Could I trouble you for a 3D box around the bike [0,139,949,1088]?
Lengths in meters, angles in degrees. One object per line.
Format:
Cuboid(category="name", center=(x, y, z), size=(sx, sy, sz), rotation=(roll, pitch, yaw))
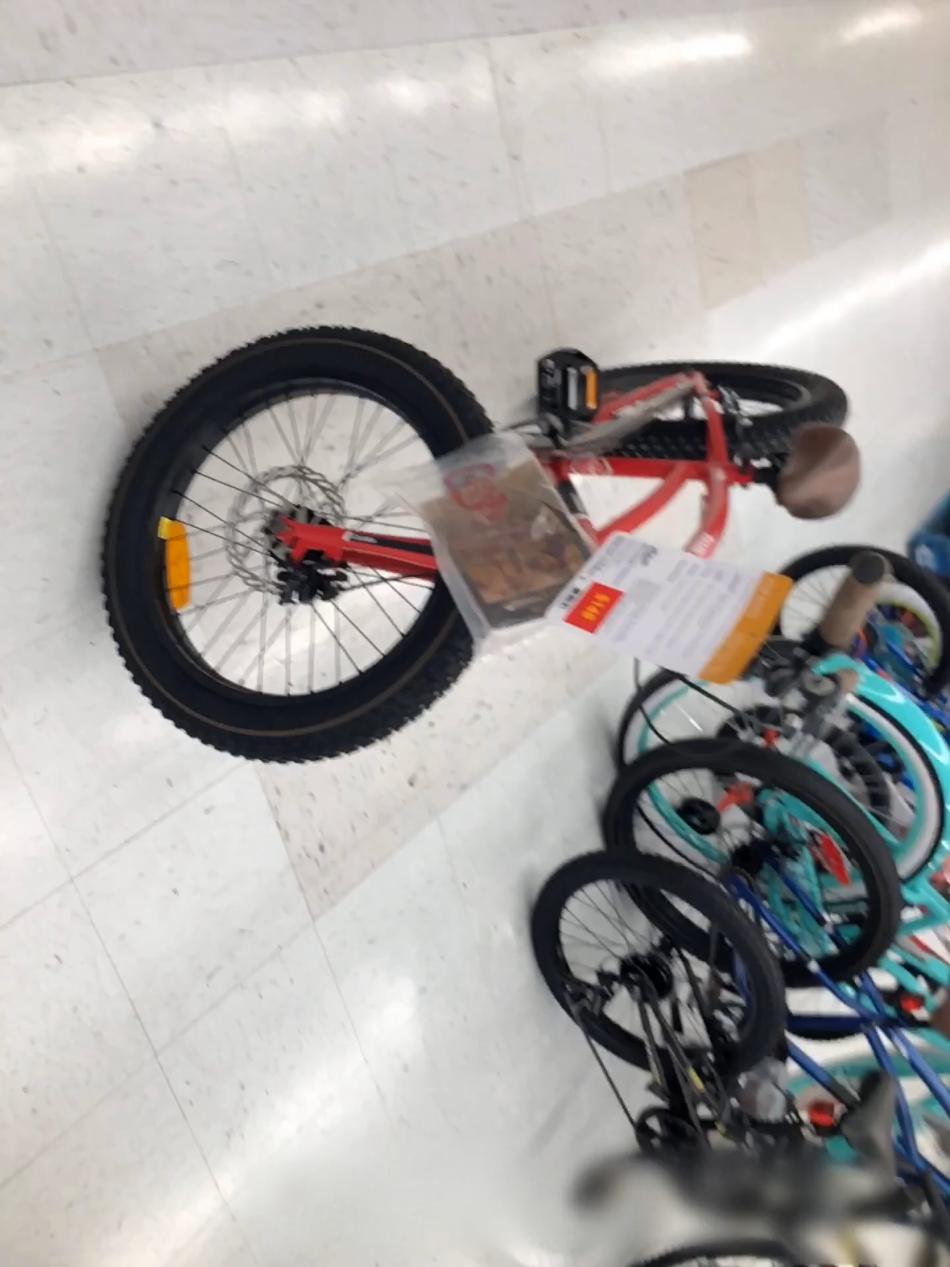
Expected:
Cuboid(category="bike", center=(0.241, -0.189, 1.532), size=(1.362, 0.968, 0.608), rotation=(-34, 119, -38))
